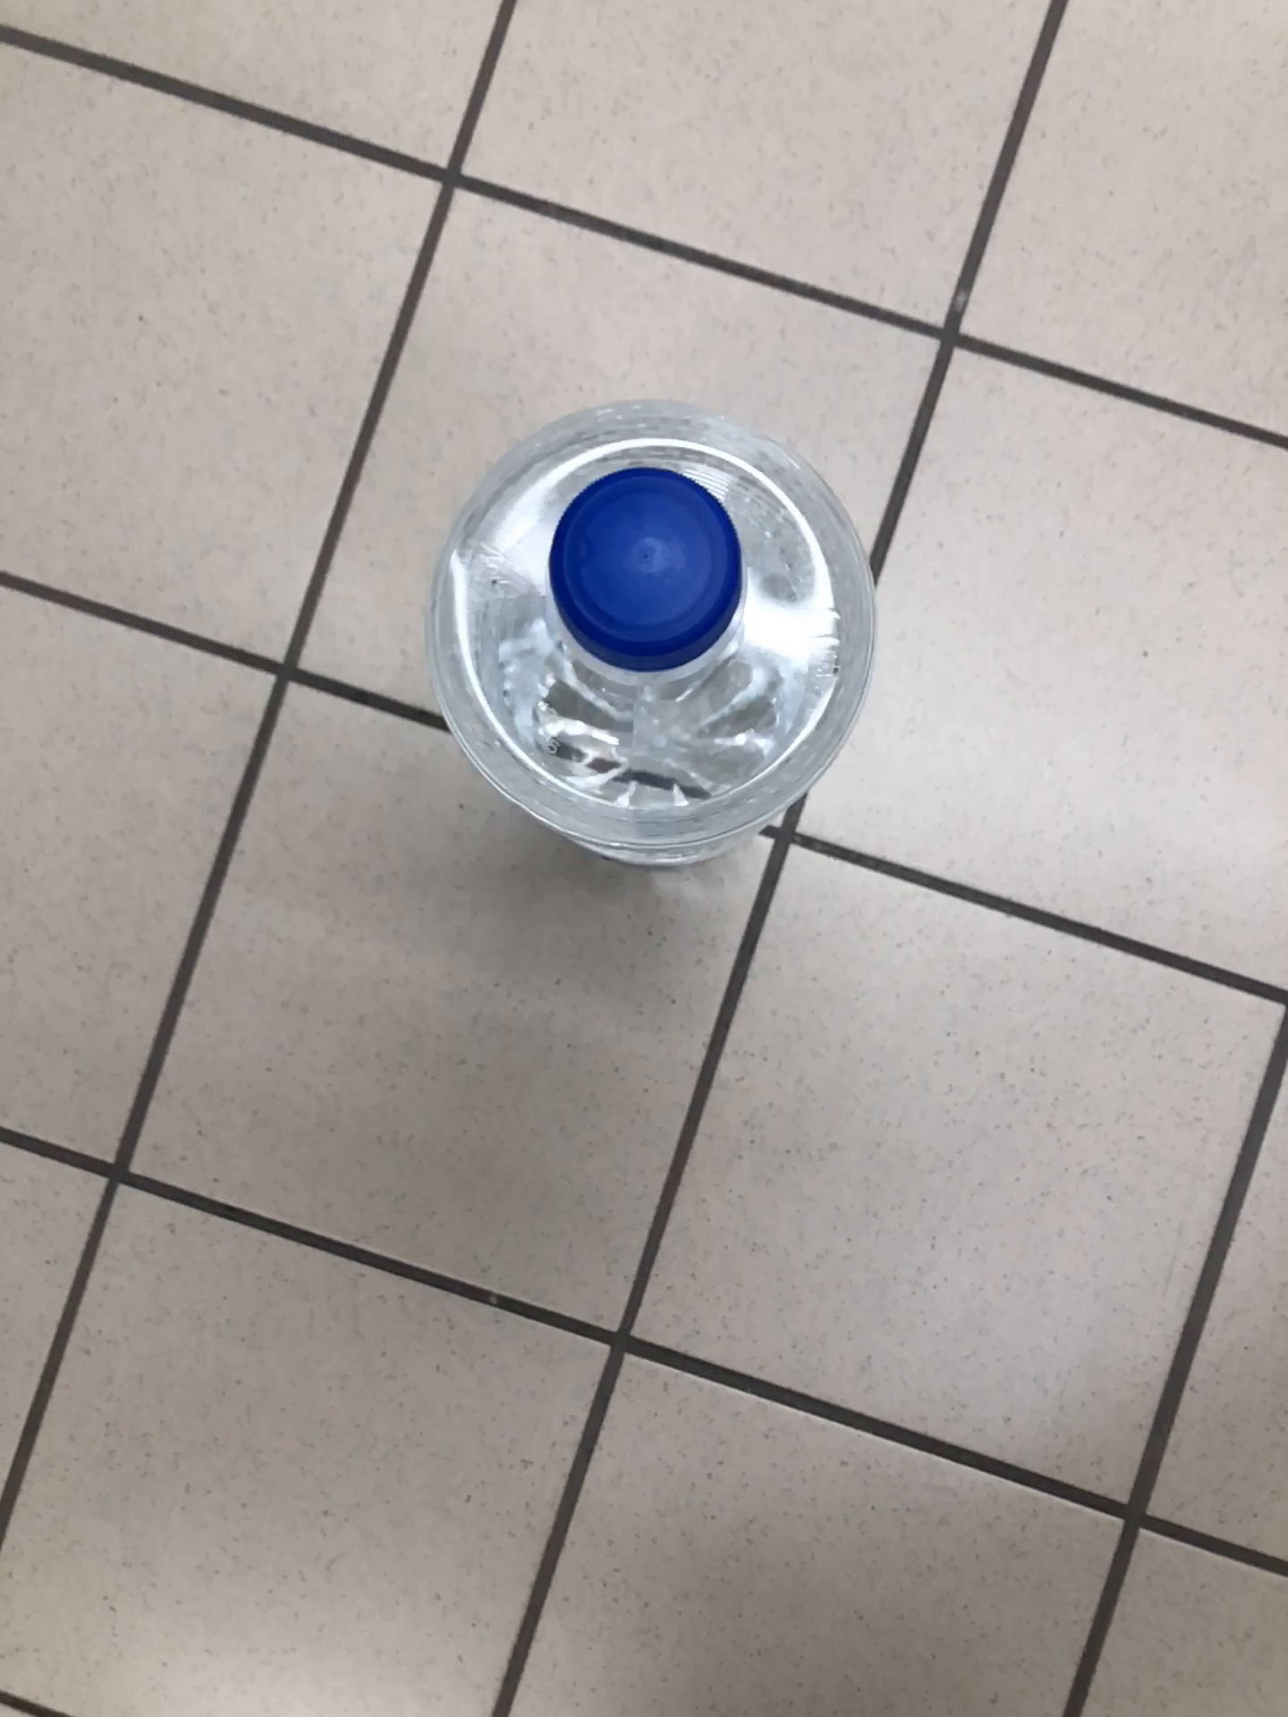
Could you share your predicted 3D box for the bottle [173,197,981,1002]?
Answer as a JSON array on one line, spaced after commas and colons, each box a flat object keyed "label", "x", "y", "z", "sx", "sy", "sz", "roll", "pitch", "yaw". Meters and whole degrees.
[{"label": "bottle", "x": -0.008, "y": -0.035, "z": 0.384, "sx": 0.100, "sy": 0.330, "sz": 0.100, "roll": 0, "pitch": 88, "yaw": 1}]
